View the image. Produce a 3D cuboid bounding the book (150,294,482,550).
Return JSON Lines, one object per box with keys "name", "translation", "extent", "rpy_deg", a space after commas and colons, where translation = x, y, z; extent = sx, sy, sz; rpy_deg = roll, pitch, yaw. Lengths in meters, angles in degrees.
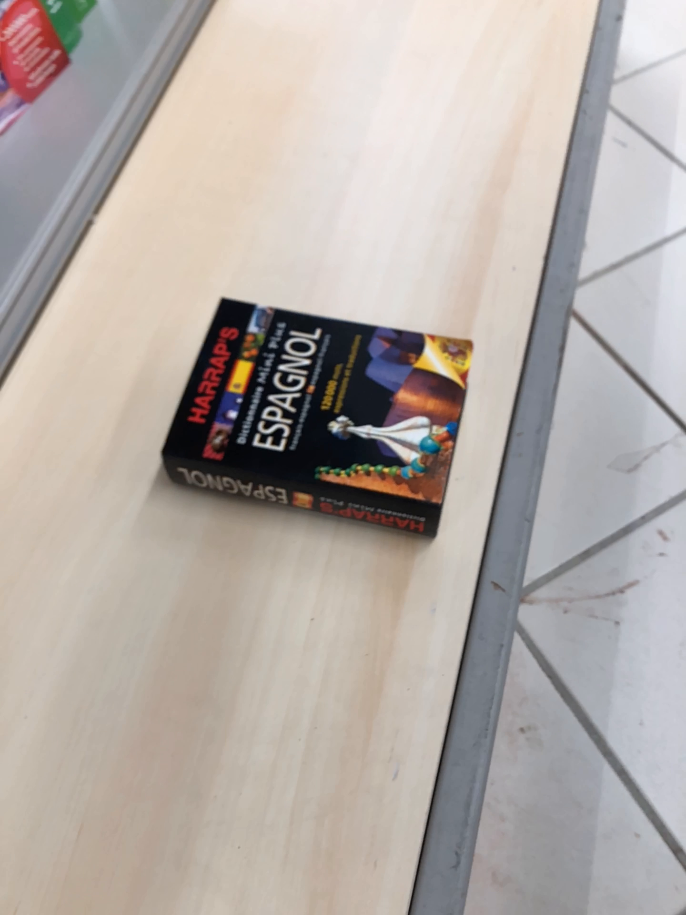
{"name": "book", "translation": [-0.010, -0.022, 0.401], "extent": [0.145, 0.038, 0.103], "rpy_deg": [12, 63, 8]}
